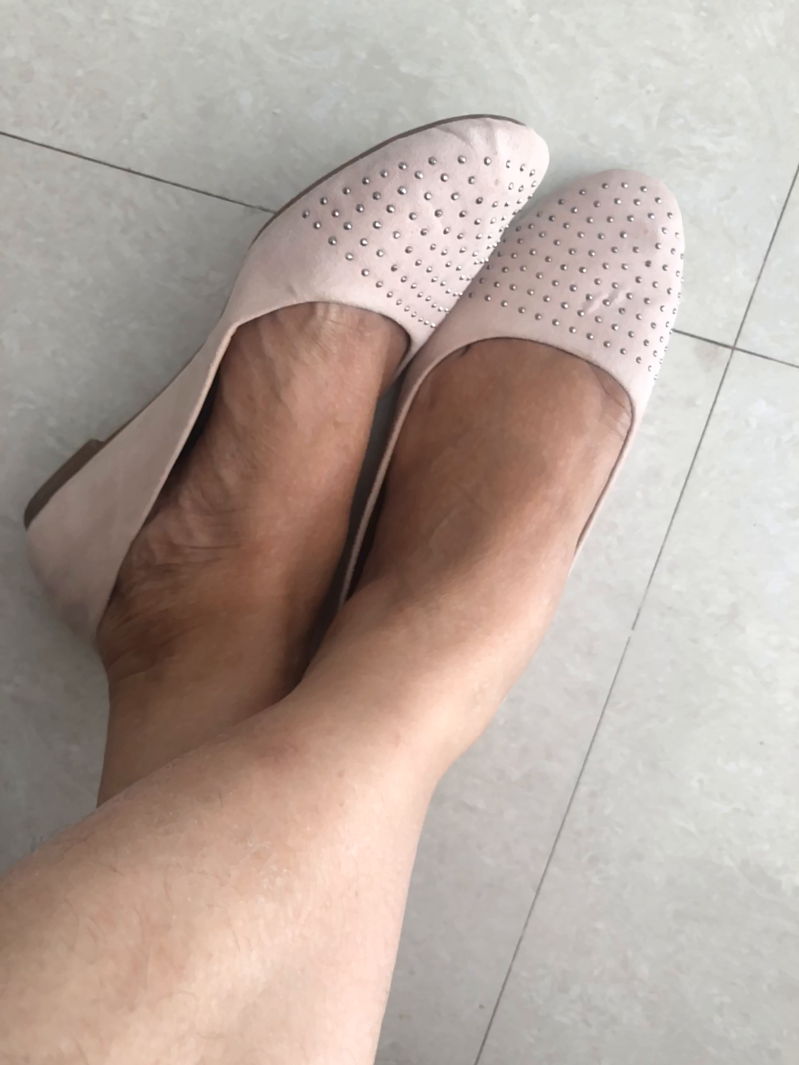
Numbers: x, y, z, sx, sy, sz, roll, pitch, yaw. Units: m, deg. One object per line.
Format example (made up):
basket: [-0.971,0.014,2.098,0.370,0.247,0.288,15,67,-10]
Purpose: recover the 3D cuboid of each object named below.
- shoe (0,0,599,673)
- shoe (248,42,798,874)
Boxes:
shoe: [-0.046,-0.057,0.323,0.240,0.090,0.060,-49,58,14]
shoe: [0.041,-0.020,0.347,0.100,0.080,0.270,21,101,-2]
